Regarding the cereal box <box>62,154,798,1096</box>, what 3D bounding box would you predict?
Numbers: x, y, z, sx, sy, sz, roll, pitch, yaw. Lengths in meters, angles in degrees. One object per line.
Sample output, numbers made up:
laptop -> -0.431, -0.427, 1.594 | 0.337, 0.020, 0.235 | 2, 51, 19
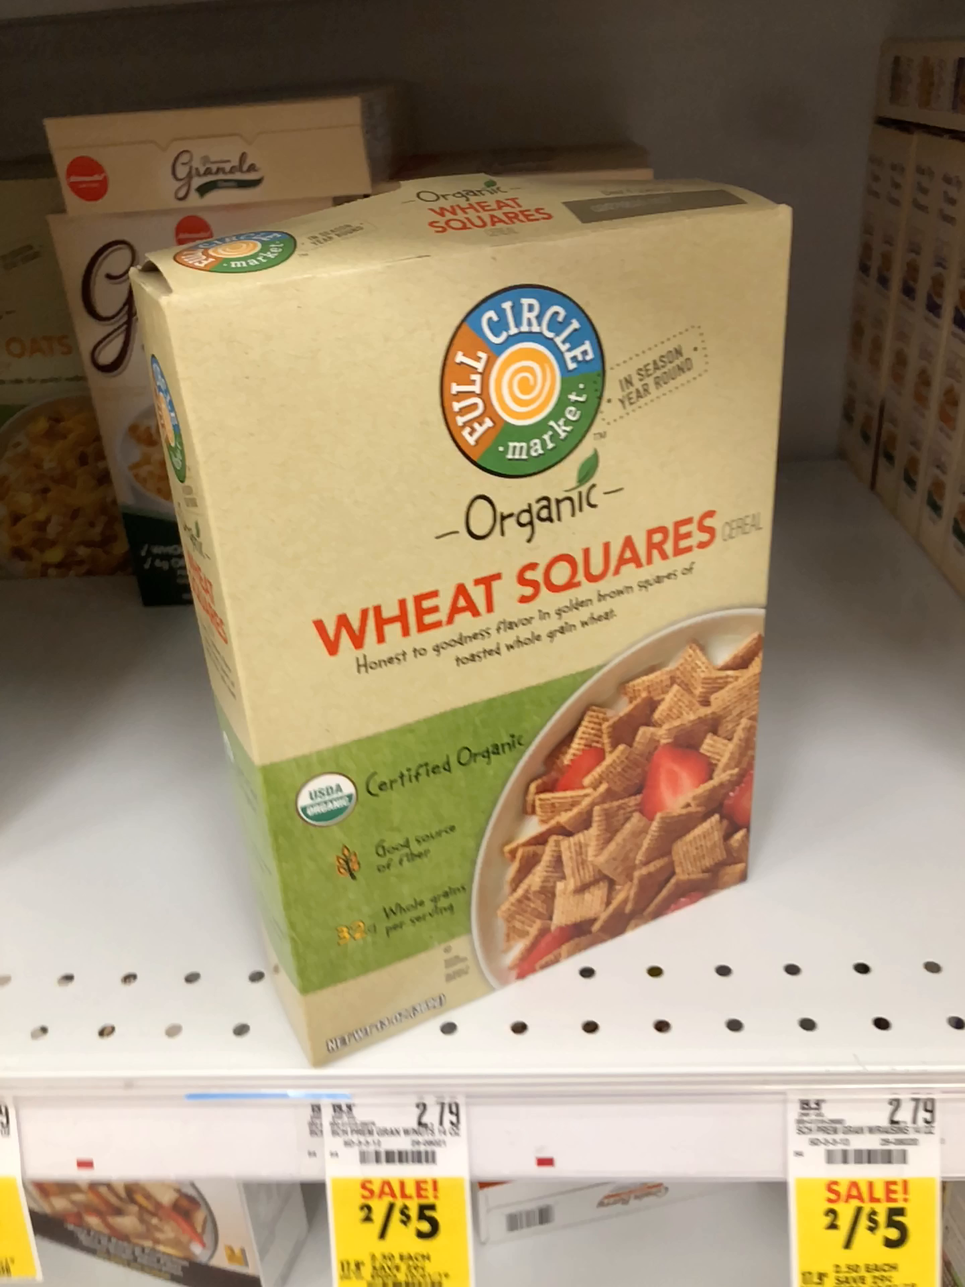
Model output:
cereal box -> 0.001, 0.000, 0.364 | 0.200, 0.279, 0.050 | -17, 32, -21
